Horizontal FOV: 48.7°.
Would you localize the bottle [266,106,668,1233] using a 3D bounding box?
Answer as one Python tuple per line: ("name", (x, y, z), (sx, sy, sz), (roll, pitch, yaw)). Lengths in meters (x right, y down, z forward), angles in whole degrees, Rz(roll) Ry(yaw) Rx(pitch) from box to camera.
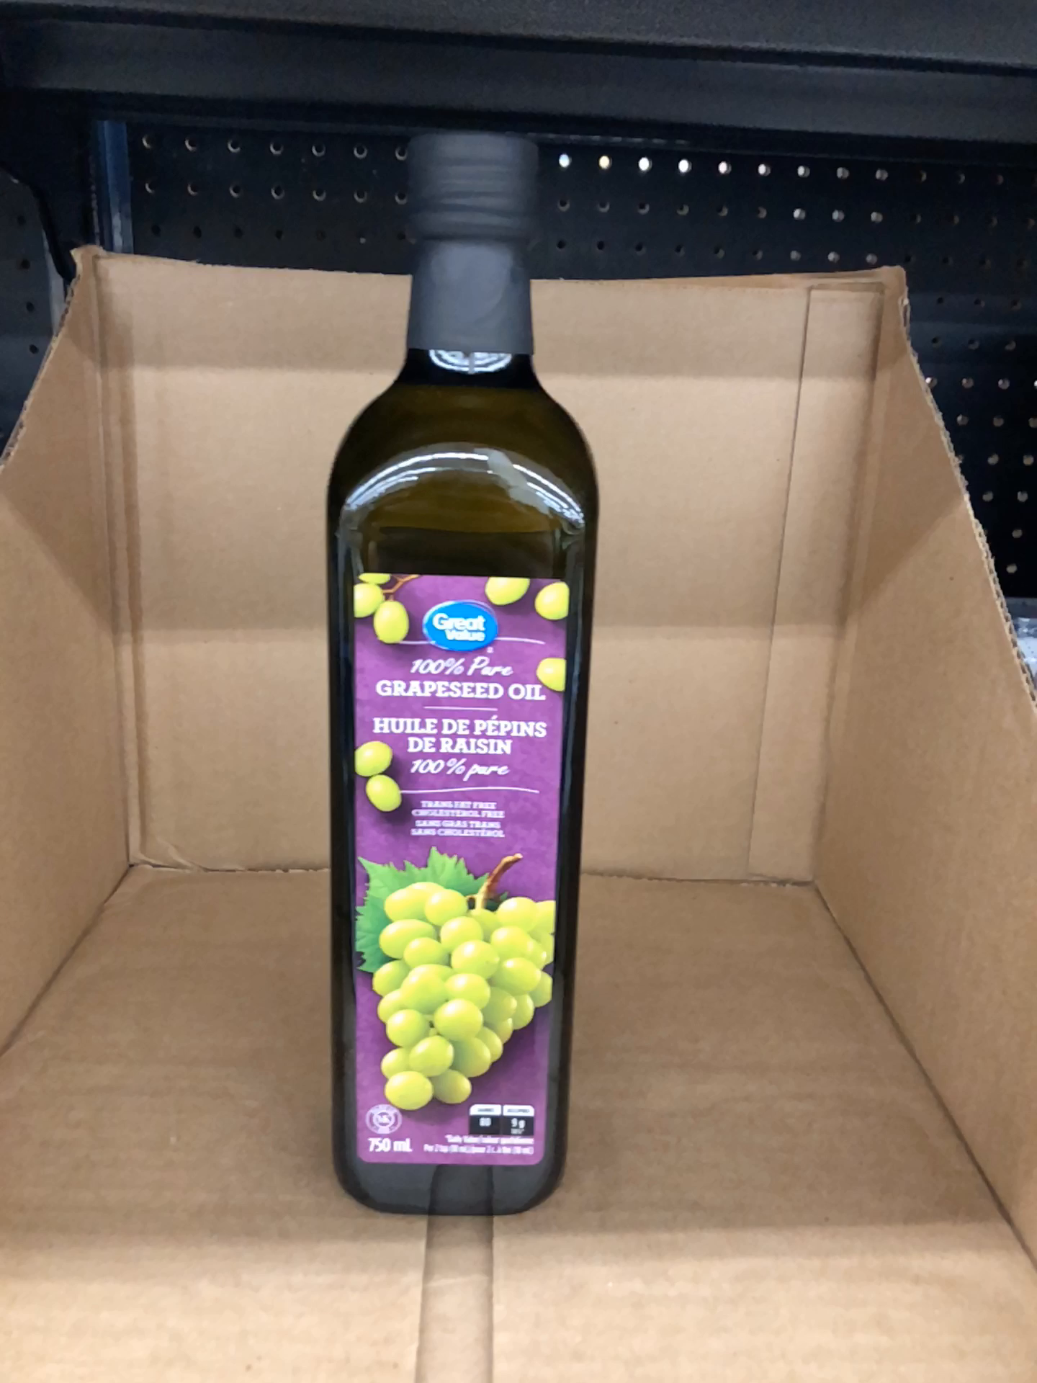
("bottle", (-0.015, 0.007, 0.301), (0.080, 0.278, 0.060), (2, 19, -1))
